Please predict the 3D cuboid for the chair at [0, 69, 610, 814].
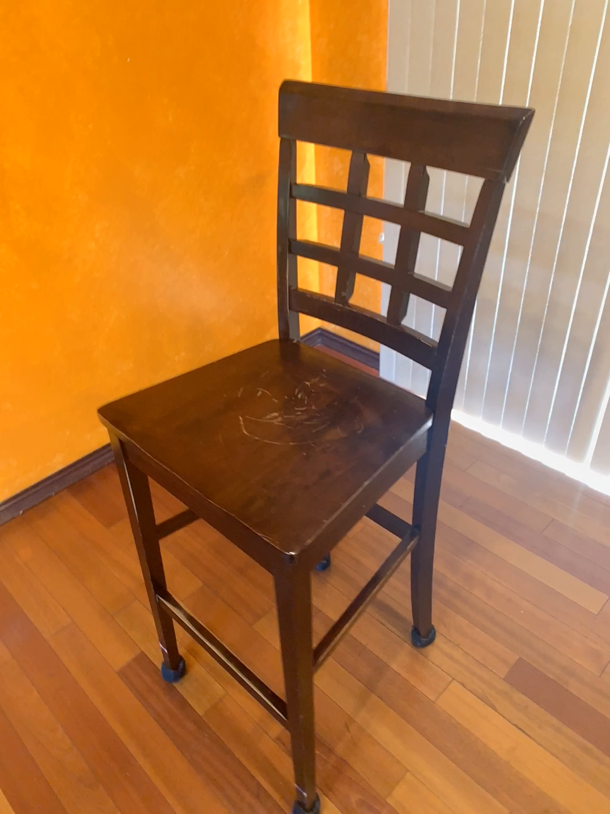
[{"bbox_3d":[-0.016,0.073,1.001,0.542,0.986,0.584,28,45,36],"label":"chair"}]
